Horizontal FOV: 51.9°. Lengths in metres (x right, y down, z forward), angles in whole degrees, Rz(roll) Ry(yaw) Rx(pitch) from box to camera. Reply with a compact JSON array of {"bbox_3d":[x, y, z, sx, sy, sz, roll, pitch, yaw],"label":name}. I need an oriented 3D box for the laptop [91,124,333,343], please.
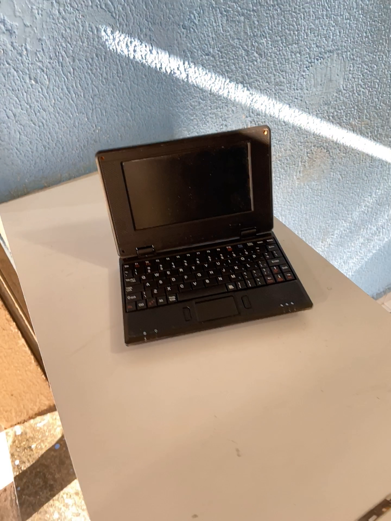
[{"bbox_3d":[0.005,-0.039,0.465,0.216,0.137,0.180,-10,44,-6],"label":"laptop"}]
